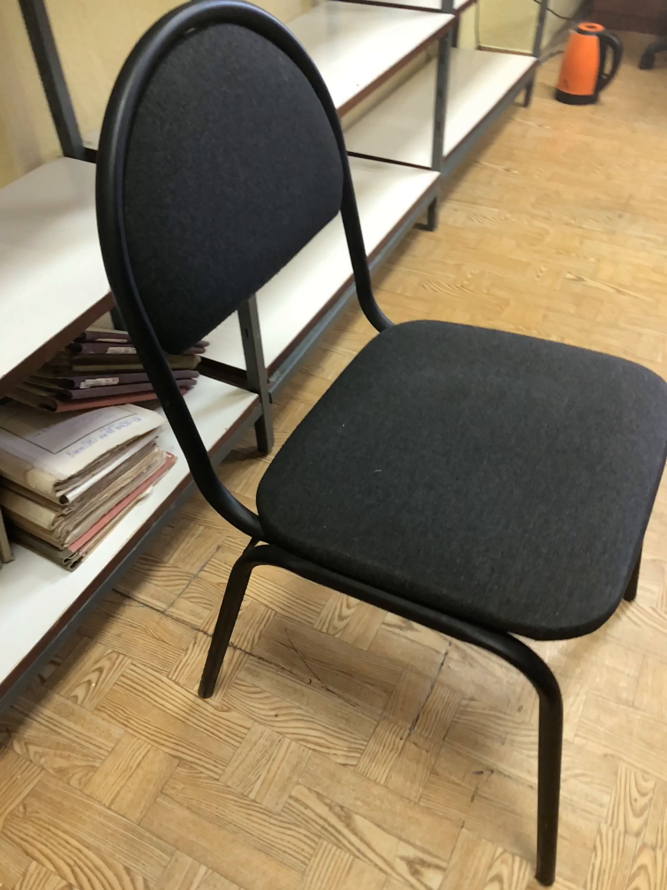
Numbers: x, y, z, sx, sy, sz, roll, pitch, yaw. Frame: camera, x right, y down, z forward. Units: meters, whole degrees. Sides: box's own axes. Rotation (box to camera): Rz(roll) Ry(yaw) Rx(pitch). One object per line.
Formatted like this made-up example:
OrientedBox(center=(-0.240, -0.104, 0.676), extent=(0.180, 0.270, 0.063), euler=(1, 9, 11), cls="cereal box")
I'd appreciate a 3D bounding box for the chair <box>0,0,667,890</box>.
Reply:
OrientedBox(center=(0.103, 0.005, 0.822), extent=(0.560, 0.835, 0.475), euler=(21, 49, 20), cls="chair")
